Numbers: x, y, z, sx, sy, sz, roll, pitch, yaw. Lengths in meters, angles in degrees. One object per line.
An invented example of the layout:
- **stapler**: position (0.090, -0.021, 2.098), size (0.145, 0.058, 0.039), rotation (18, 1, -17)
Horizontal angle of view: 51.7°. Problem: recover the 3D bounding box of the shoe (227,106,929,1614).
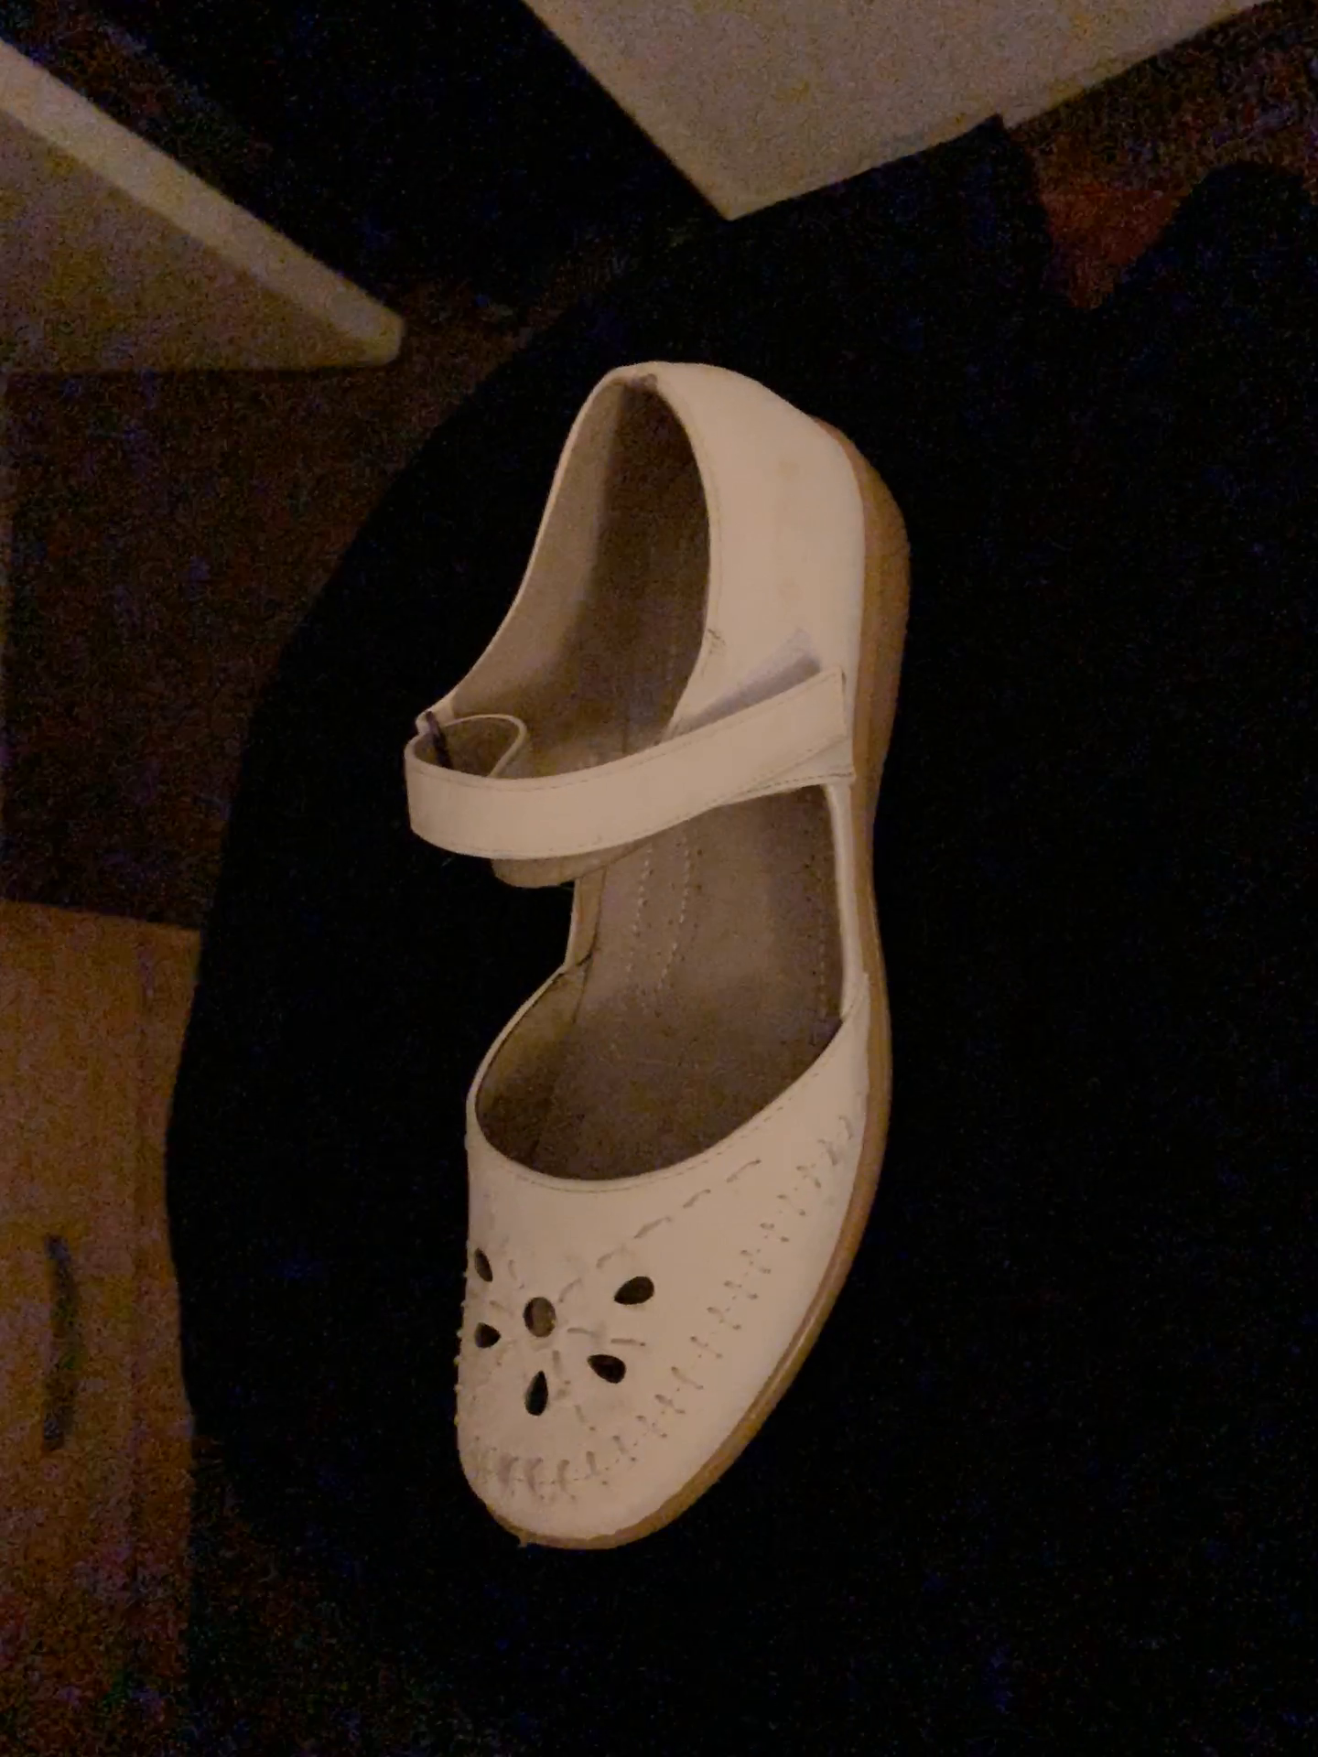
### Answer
- **shoe**: position (-0.009, -0.006, 0.307), size (0.098, 0.099, 0.270), rotation (-3, 78, 34)
